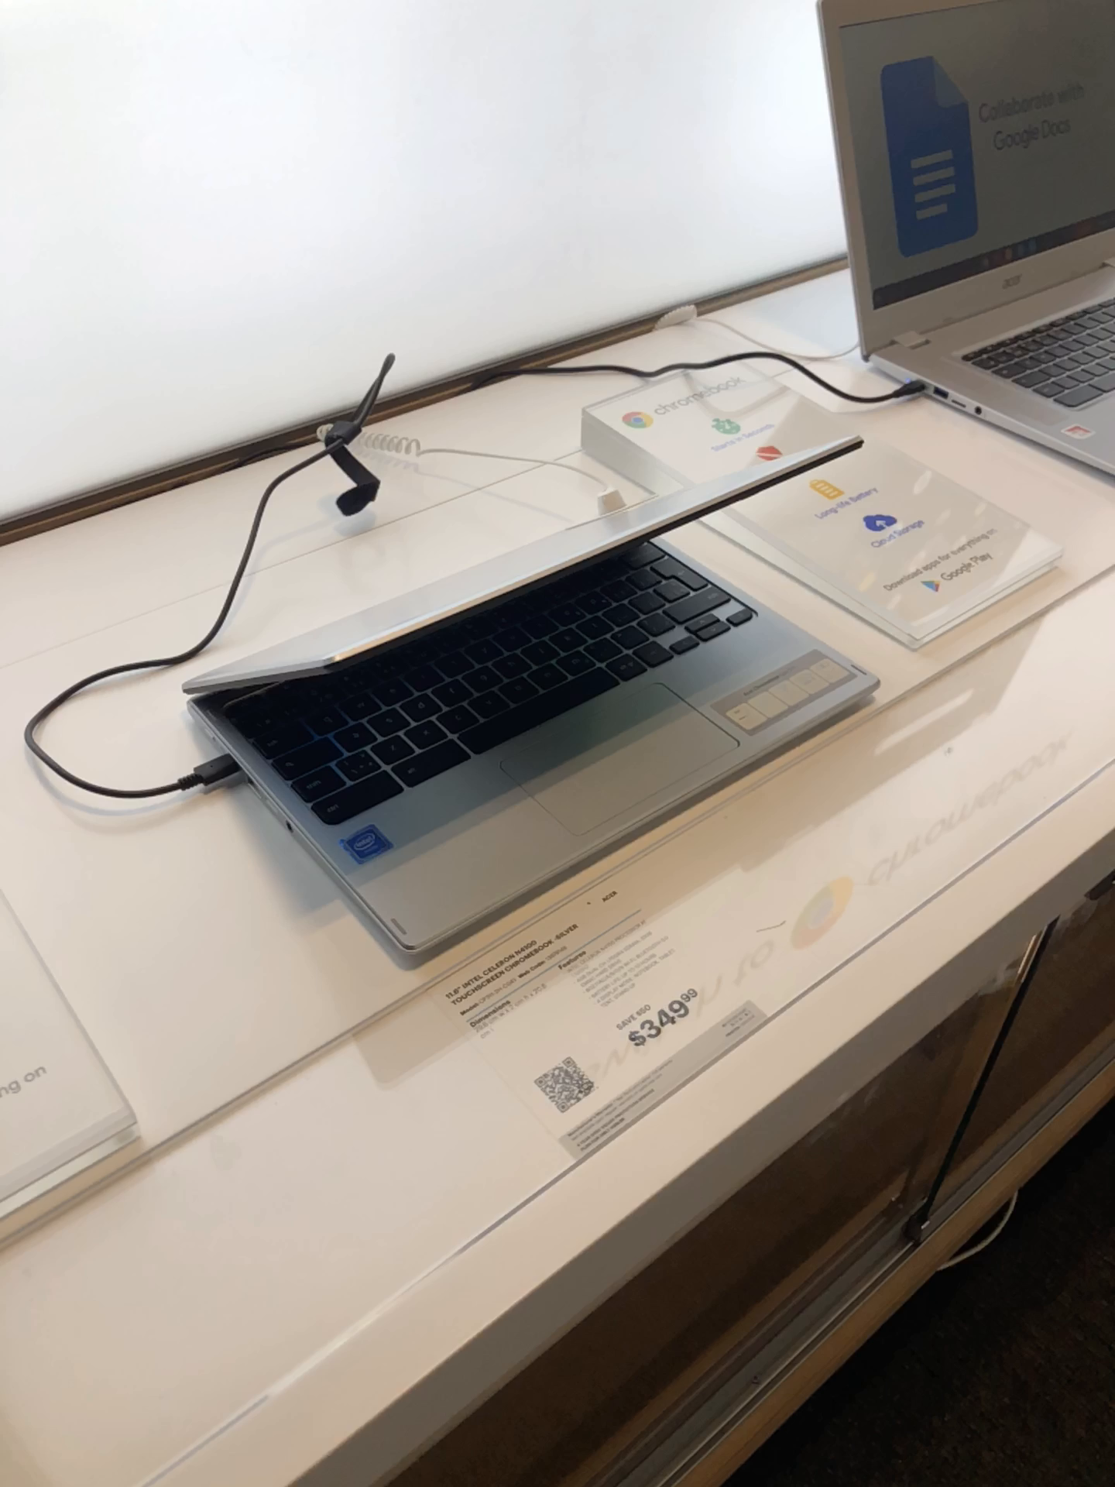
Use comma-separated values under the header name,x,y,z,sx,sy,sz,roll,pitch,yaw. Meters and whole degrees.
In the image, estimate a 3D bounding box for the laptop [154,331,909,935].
name,x,y,z,sx,sy,sz,roll,pitch,yaw
laptop,-0.009,-0.074,0.586,0.280,0.123,0.192,-27,48,-29
